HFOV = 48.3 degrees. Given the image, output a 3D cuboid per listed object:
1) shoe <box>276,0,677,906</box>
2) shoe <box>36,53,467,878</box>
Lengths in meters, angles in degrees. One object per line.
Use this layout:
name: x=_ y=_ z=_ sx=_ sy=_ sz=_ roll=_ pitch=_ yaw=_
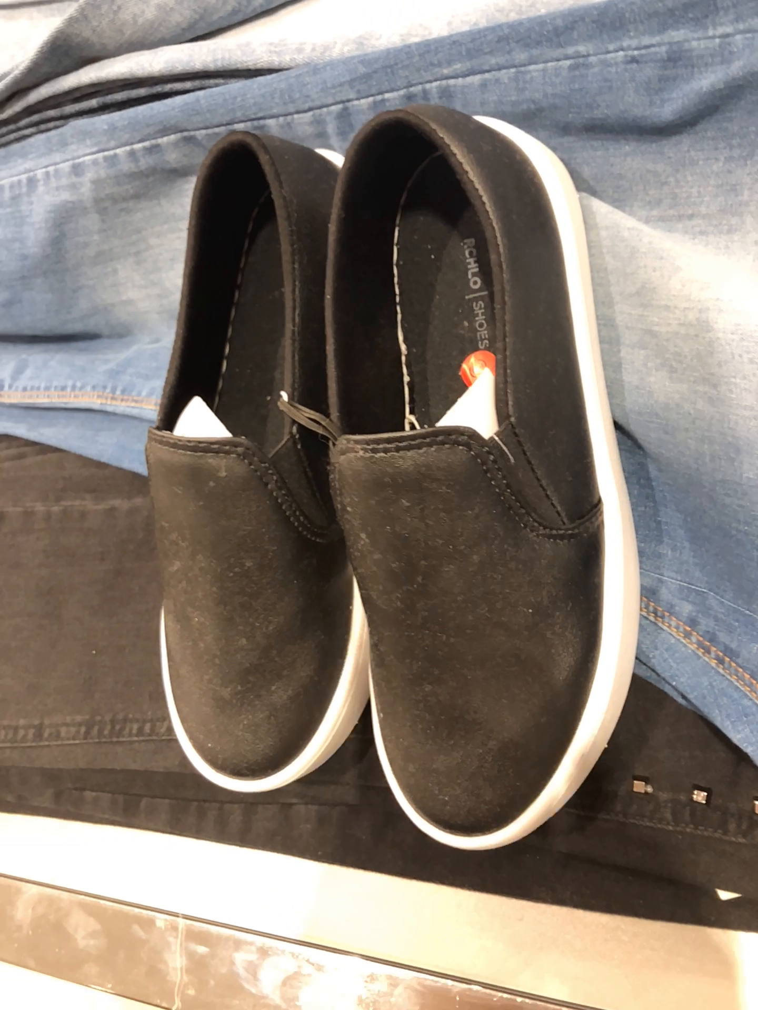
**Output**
shoe: x=0.040 y=-0.018 z=0.302 sx=0.110 sy=0.100 sz=0.260 roll=-2 pitch=89 yaw=24
shoe: x=-0.046 y=-0.015 z=0.334 sx=0.110 sy=0.100 sz=0.260 roll=6 pitch=92 yaw=26
